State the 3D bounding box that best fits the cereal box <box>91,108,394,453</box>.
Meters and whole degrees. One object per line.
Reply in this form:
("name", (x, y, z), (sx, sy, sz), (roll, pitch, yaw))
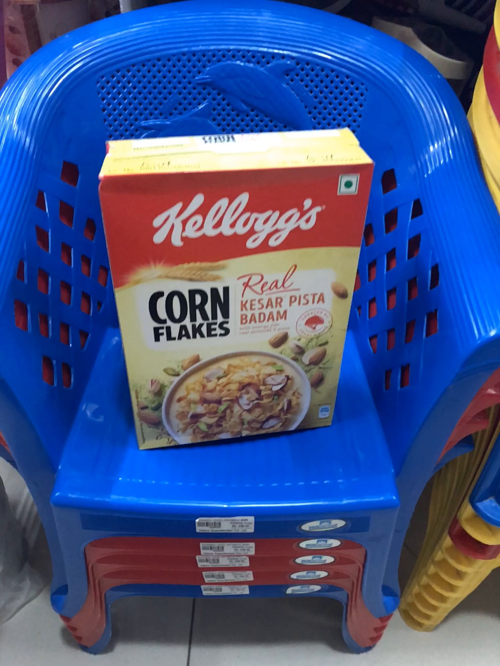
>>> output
("cereal box", (-0.008, -0.030, 0.452), (0.190, 0.269, 0.070), (-6, 38, -8))
